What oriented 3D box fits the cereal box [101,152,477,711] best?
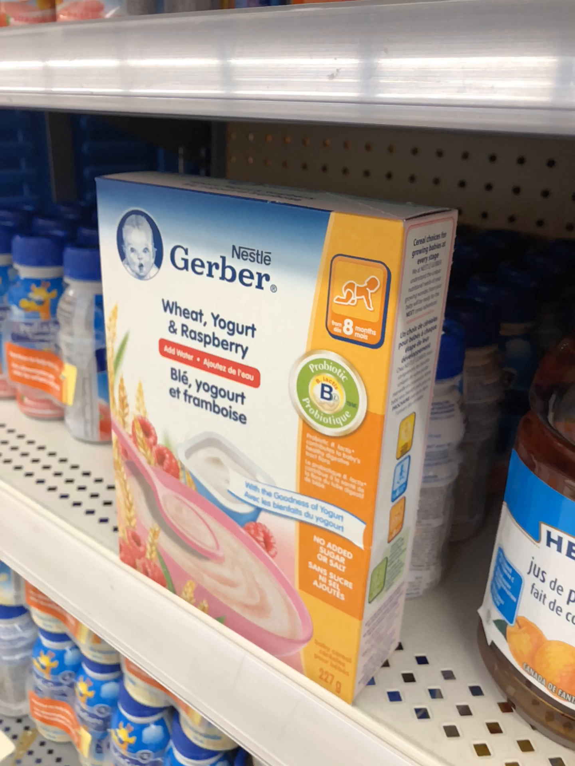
[{"bbox_3d":[-0.012,0.012,0.278,0.140,0.199,0.050,19,25,33],"label":"cereal box"}]

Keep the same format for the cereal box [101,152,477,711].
[{"bbox_3d":[-0.012,0.012,0.278,0.140,0.199,0.050,19,25,33],"label":"cereal box"}]

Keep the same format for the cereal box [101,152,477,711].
[{"bbox_3d":[-0.012,0.012,0.278,0.140,0.199,0.050,19,25,33],"label":"cereal box"}]
